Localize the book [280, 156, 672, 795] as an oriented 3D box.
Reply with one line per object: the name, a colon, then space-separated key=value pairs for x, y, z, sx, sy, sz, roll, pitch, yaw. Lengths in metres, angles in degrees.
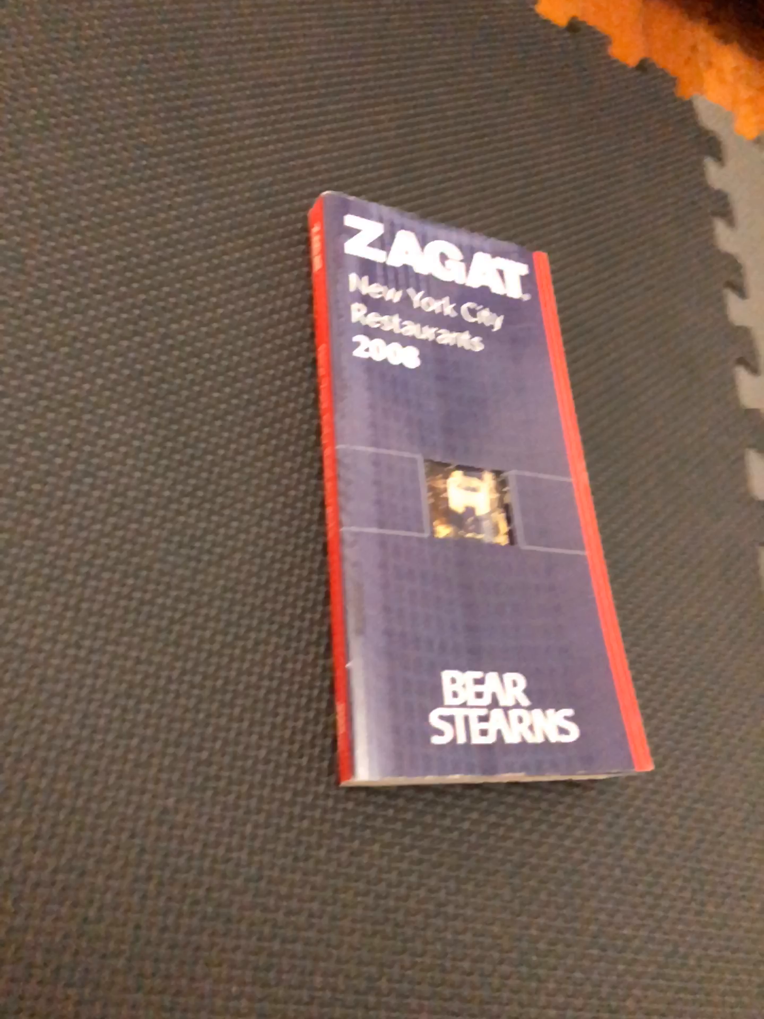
book: x=0.028 y=-0.016 z=0.306 sx=0.120 sy=0.030 sz=0.220 roll=7 pitch=65 yaw=-26
